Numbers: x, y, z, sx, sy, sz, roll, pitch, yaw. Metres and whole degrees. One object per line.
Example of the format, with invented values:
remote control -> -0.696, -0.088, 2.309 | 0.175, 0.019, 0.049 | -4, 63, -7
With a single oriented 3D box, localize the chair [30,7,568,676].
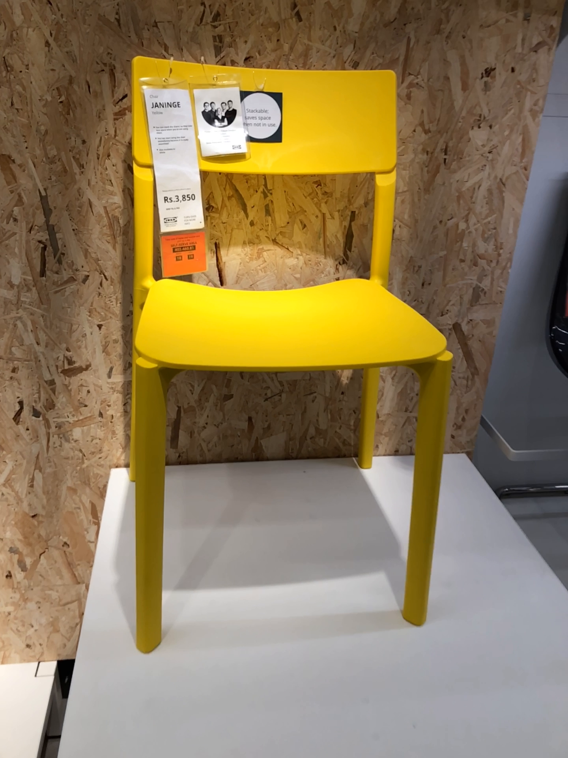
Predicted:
chair -> -0.009, -0.067, 0.834 | 0.460, 0.676, 0.463 | -2, 26, -10
